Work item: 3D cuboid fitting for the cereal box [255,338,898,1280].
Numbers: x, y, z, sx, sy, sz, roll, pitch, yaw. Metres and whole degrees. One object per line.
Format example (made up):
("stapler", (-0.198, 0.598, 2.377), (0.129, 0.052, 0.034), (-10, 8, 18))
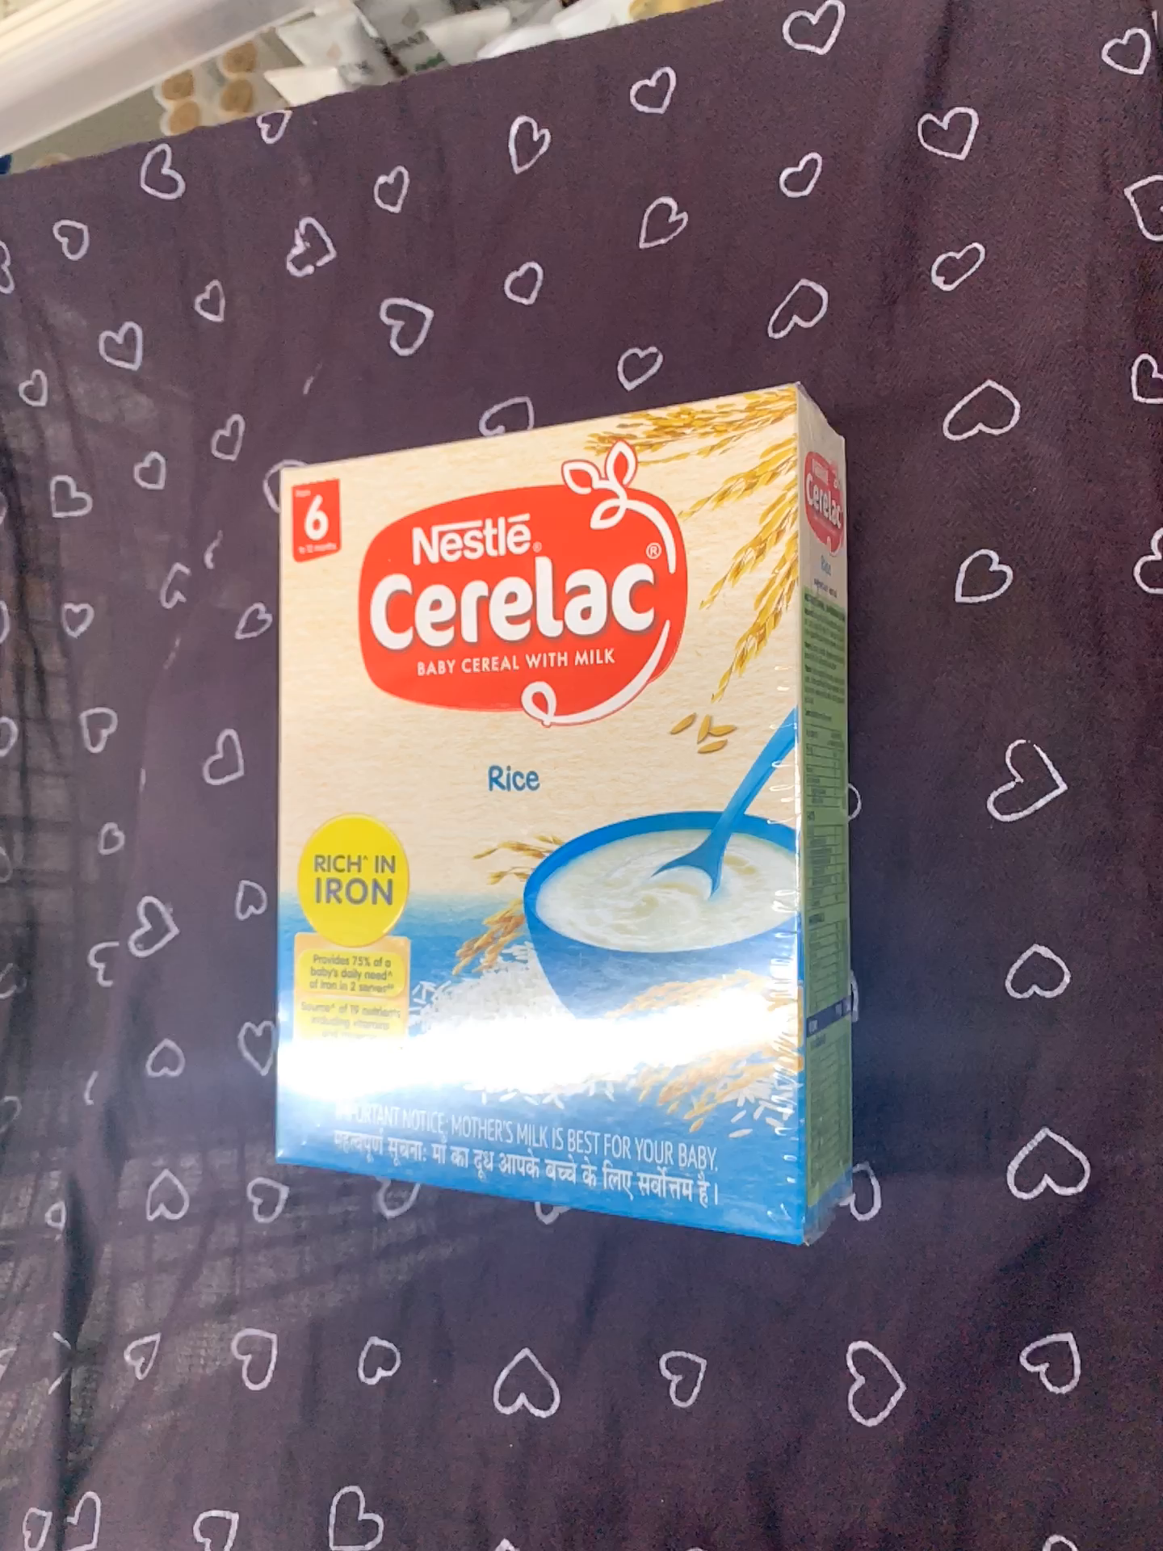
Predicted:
("cereal box", (-0.006, 0.008, 0.308), (0.161, 0.040, 0.200), (-2, 86, 26))
